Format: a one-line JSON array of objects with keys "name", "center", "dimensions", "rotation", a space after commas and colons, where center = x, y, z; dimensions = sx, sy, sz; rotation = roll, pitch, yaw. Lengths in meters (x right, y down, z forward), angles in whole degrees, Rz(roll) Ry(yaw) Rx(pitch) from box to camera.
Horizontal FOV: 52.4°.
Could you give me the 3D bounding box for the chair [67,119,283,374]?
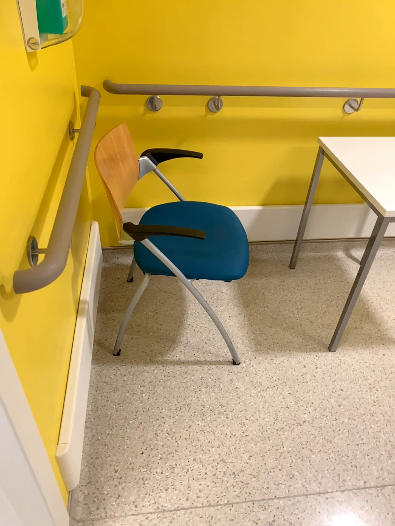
[{"name": "chair", "center": [-0.072, -0.060, 1.560], "dimensions": [0.589, 0.779, 0.576], "rotation": [2, 38, -1]}]
